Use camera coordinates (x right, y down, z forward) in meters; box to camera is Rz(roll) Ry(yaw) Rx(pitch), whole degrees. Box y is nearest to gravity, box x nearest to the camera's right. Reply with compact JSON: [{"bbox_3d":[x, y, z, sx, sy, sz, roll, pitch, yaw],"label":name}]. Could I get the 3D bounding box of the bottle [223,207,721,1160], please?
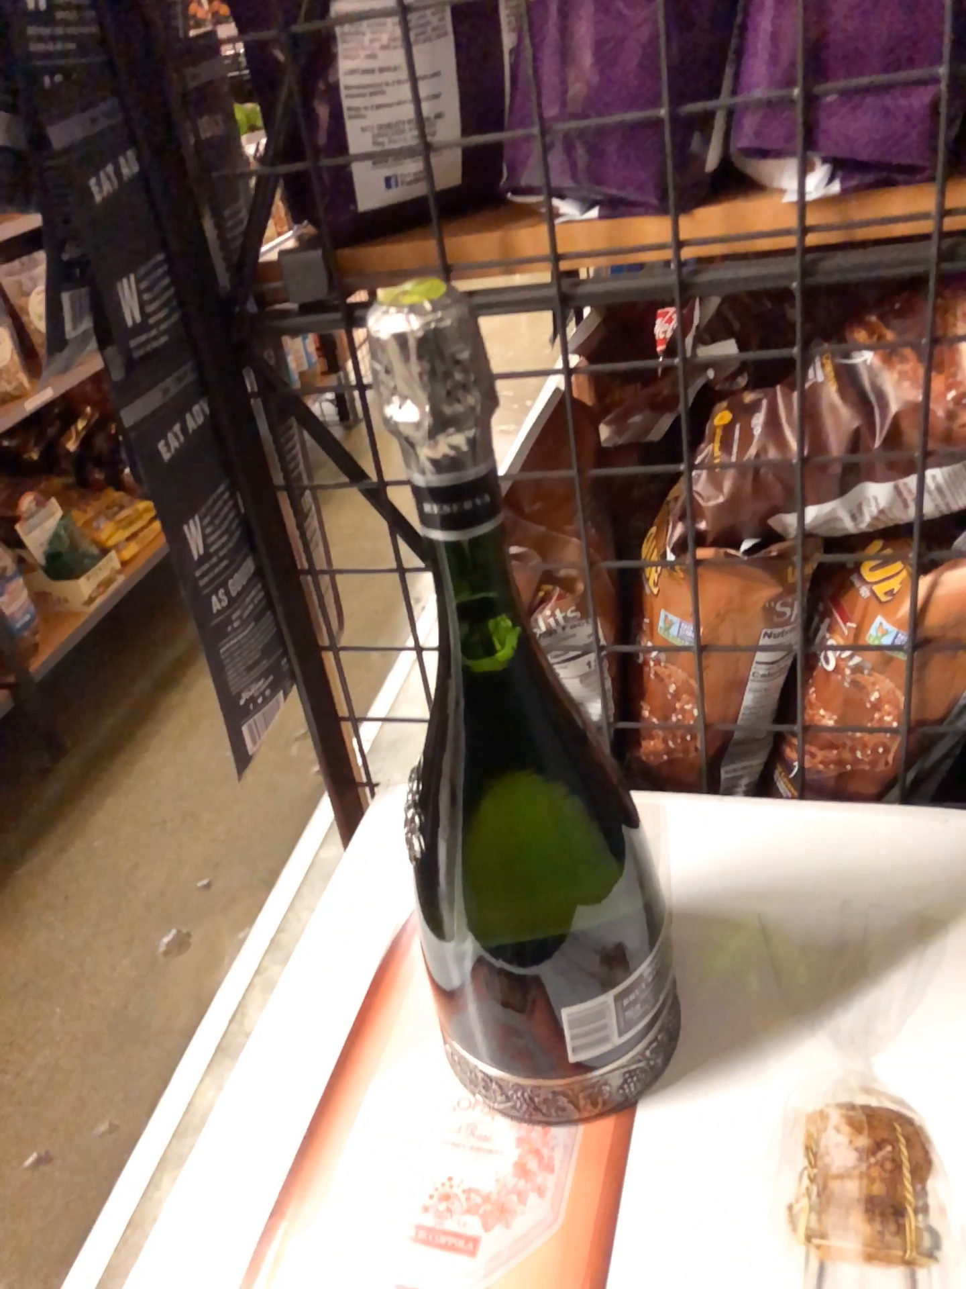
[{"bbox_3d":[0.020,0.033,0.391,0.110,0.332,0.122,-5,31,9],"label":"bottle"}]
